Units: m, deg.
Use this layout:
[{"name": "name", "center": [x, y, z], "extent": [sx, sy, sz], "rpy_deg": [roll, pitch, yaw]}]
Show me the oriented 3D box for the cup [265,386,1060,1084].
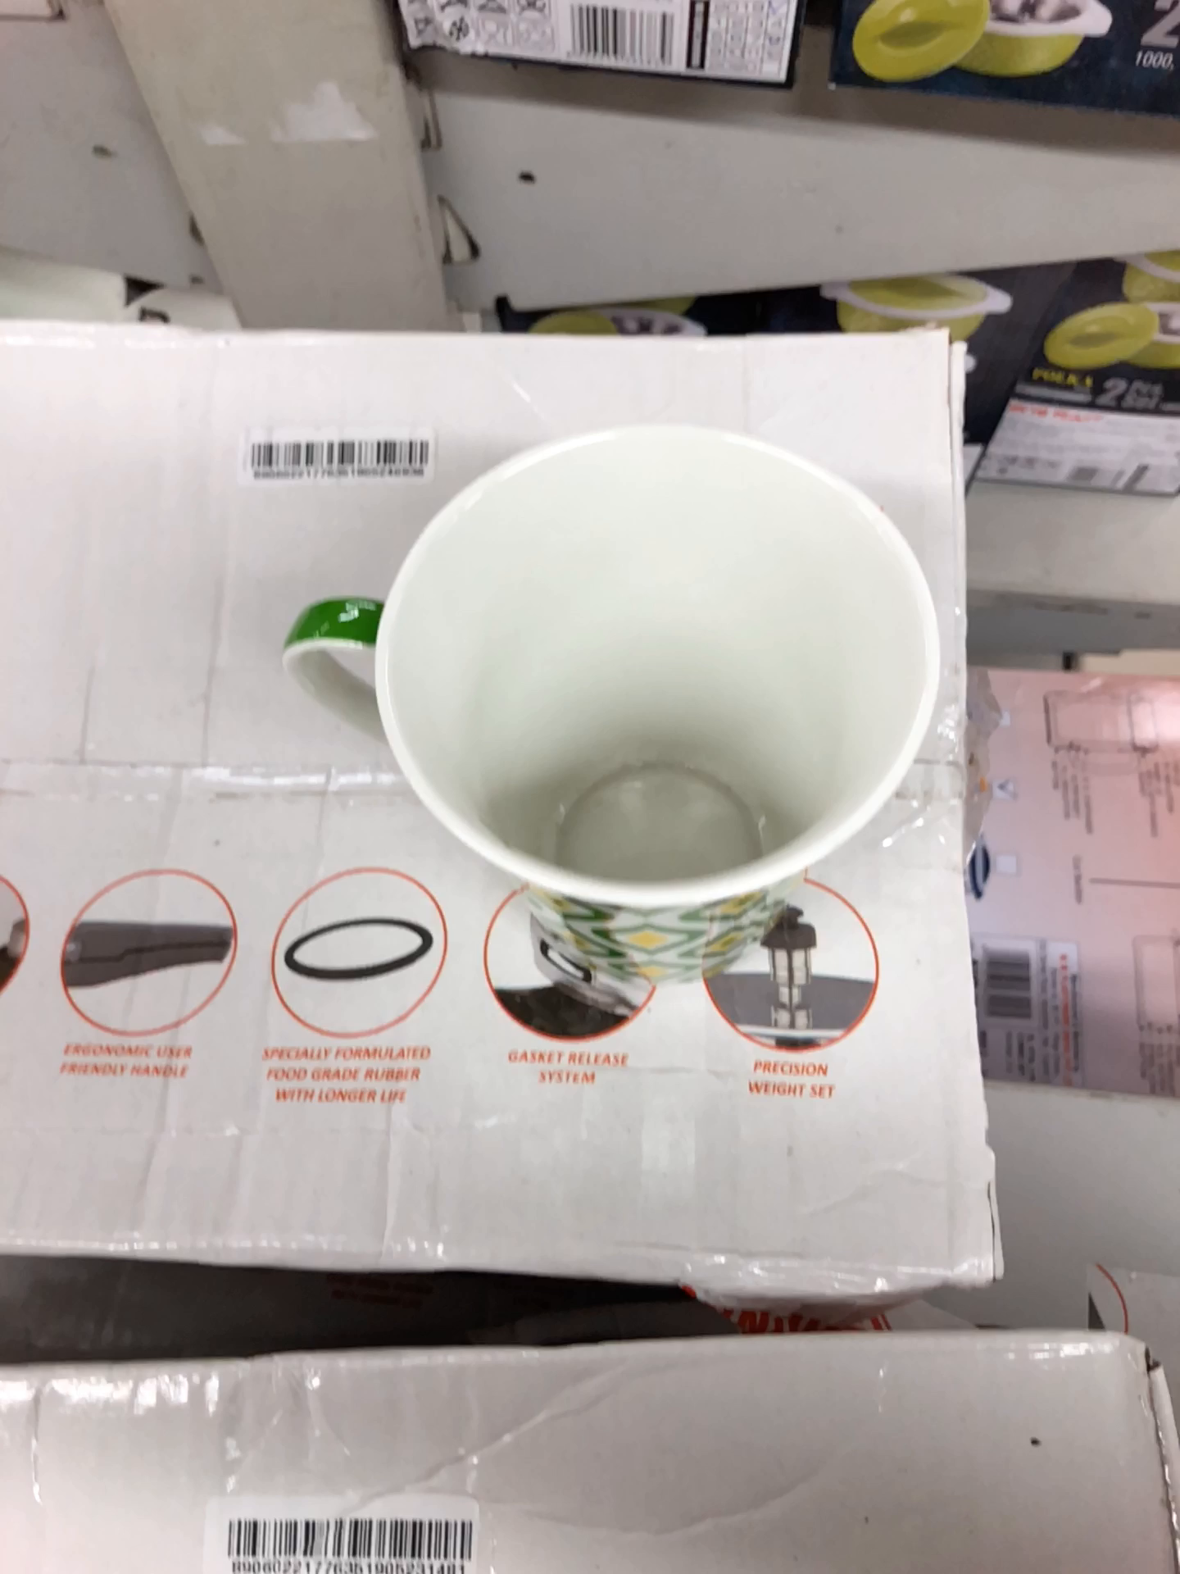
[{"name": "cup", "center": [0.014, -0.005, 0.242], "extent": [0.110, 0.090, 0.090], "rpy_deg": [4, 65, 3]}]
